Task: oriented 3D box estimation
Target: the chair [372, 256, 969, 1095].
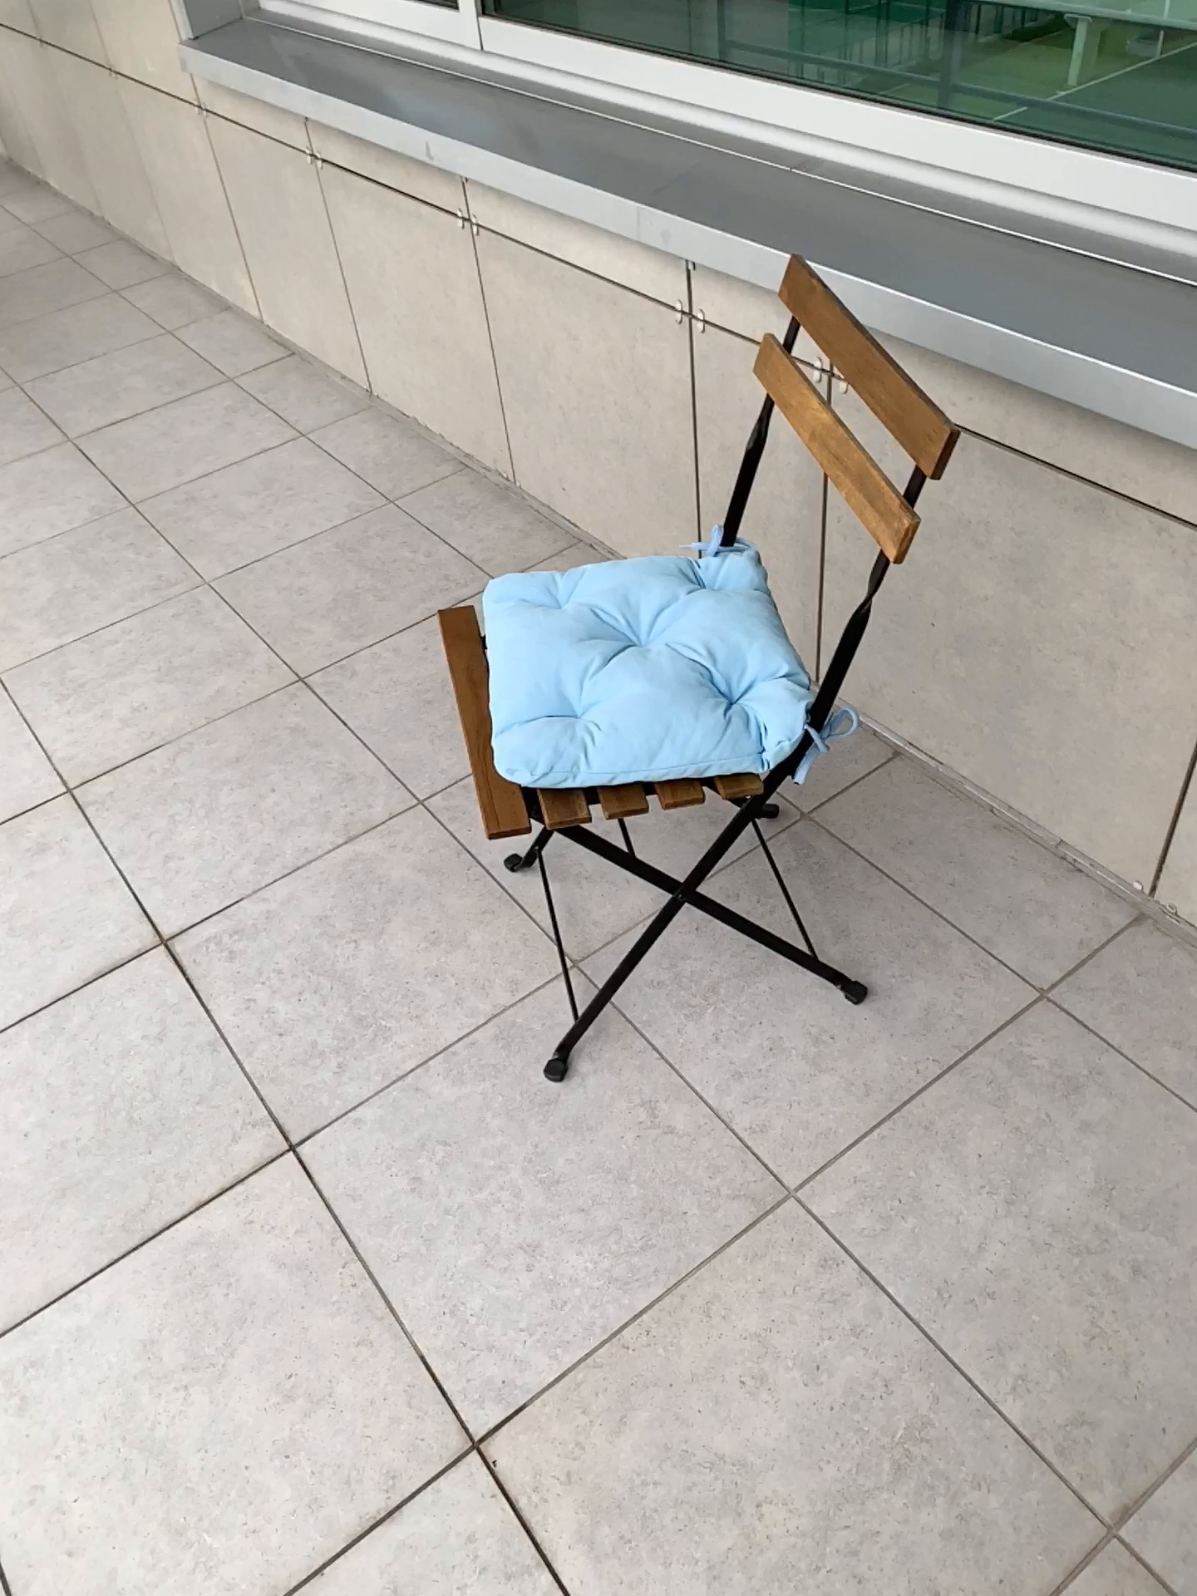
[{"bbox_3d":[0.068,-0.108,1.350,0.452,0.748,0.419,-12,43,-4],"label":"chair"}]
